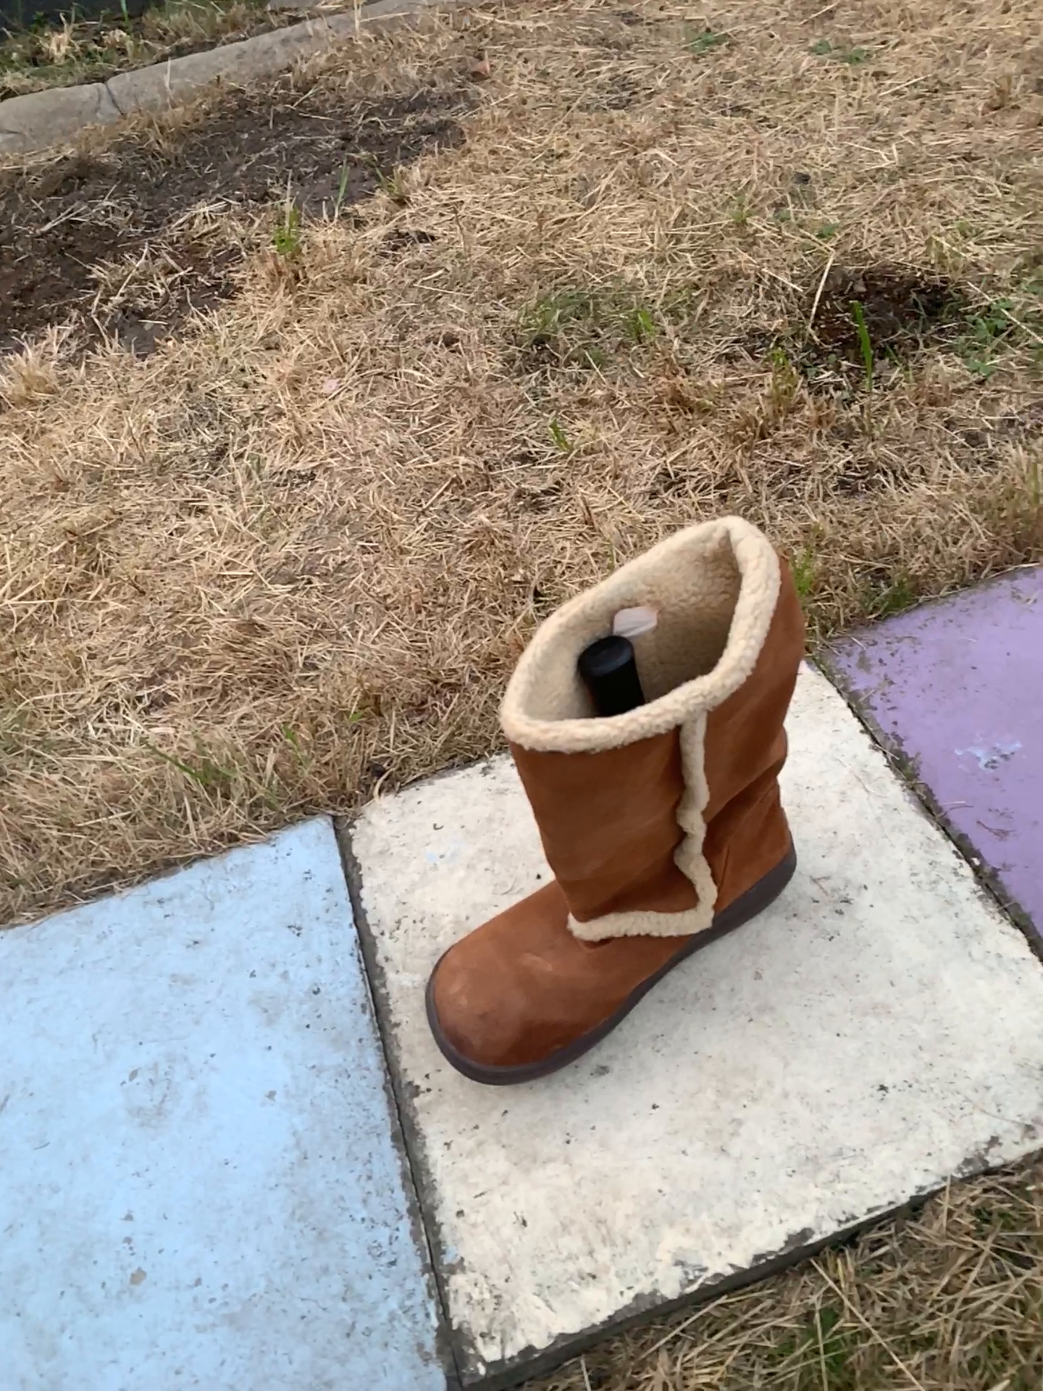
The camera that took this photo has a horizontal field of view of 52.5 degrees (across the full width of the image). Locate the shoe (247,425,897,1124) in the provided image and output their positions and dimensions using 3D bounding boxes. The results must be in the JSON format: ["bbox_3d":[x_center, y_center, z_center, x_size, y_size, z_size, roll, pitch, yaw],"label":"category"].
[{"bbox_3d":[0.042,0.057,0.562,0.260,0.297,0.111,-27,49,-12],"label":"shoe"}]
